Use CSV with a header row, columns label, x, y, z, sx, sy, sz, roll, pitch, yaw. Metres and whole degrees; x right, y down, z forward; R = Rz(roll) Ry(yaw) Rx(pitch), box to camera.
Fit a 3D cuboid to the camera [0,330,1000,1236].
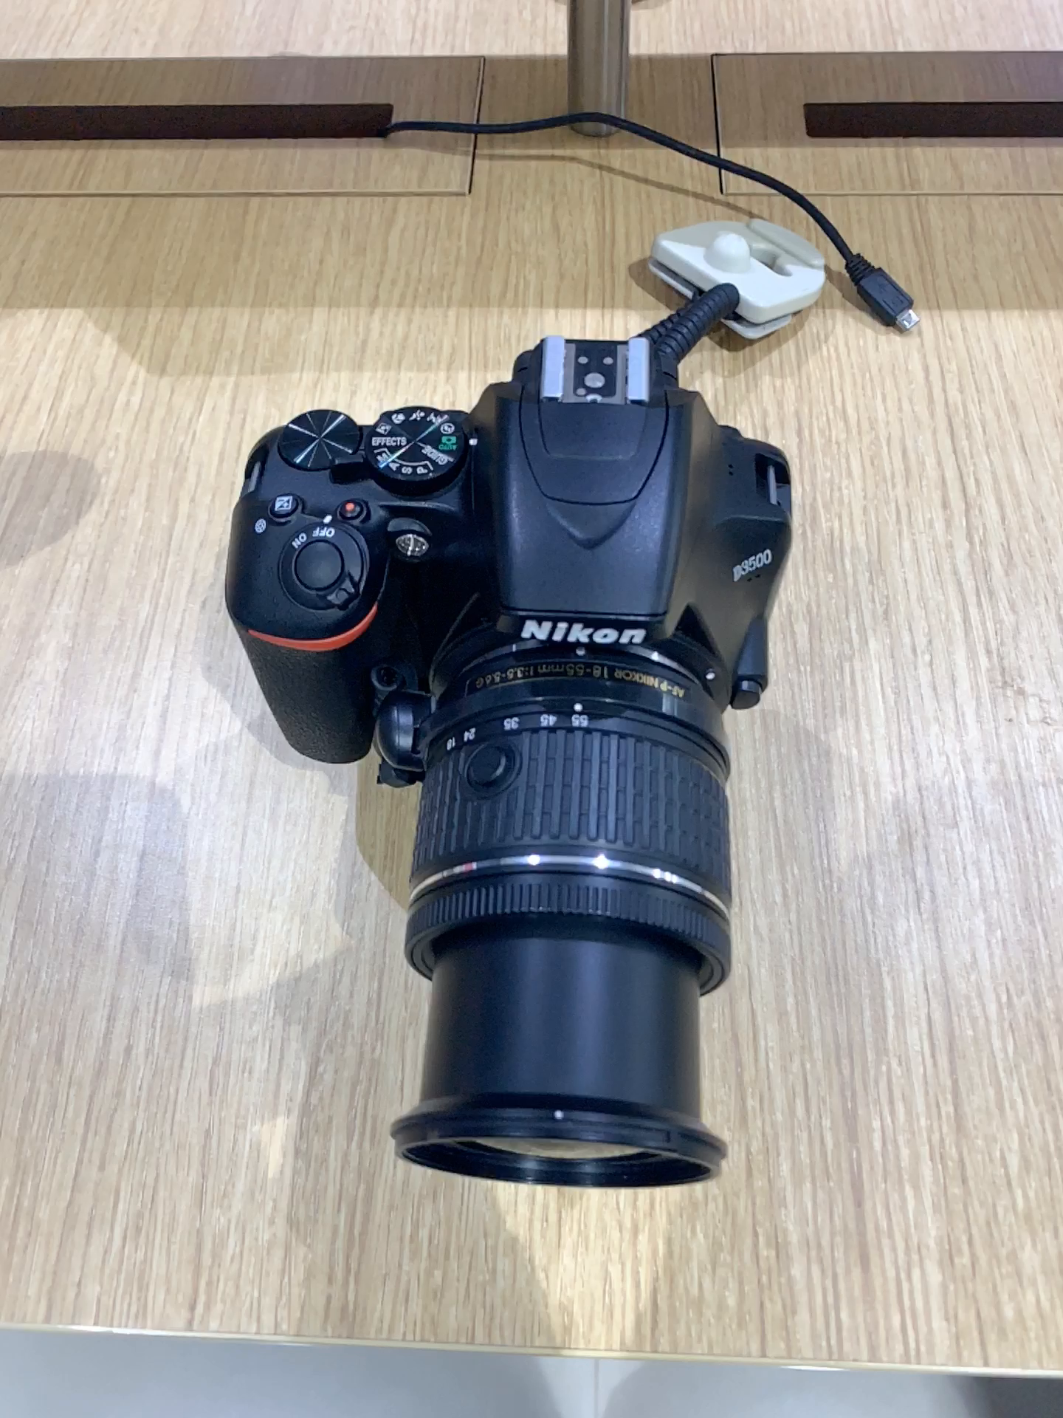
label,x,y,z,sx,sy,sz,roll,pitch,yaw
camera,-0.001,0.016,0.198,0.117,0.095,0.131,2,60,3
